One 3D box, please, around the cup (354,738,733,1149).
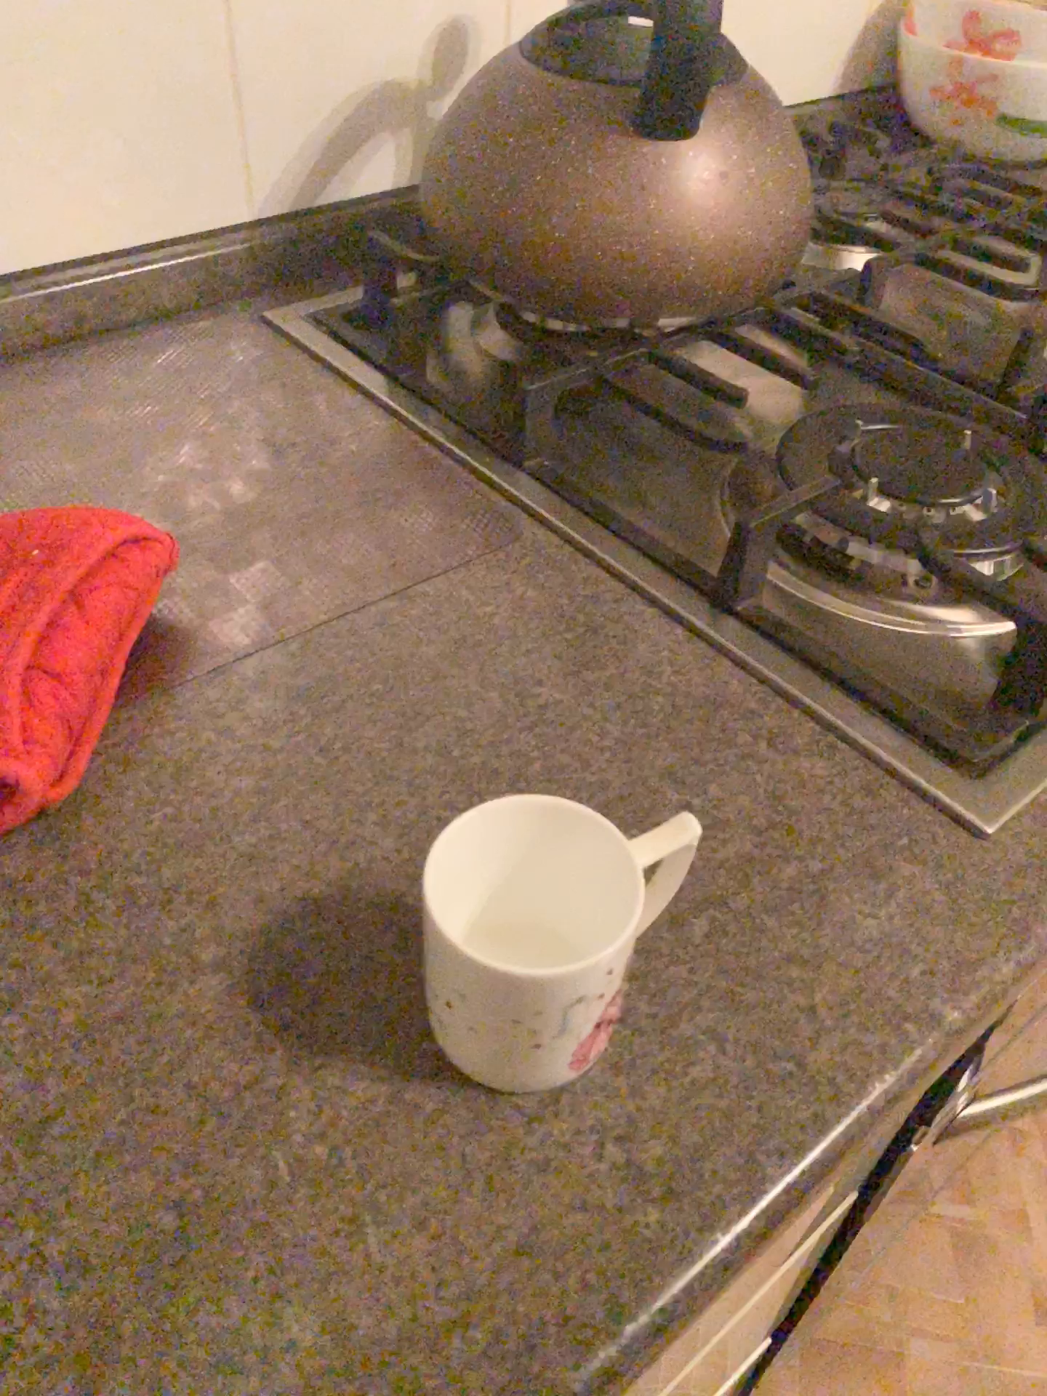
[{"bbox_3d":[0.003,0.067,0.302,0.080,0.069,0.060,-17,47,-21],"label":"cup"}]
